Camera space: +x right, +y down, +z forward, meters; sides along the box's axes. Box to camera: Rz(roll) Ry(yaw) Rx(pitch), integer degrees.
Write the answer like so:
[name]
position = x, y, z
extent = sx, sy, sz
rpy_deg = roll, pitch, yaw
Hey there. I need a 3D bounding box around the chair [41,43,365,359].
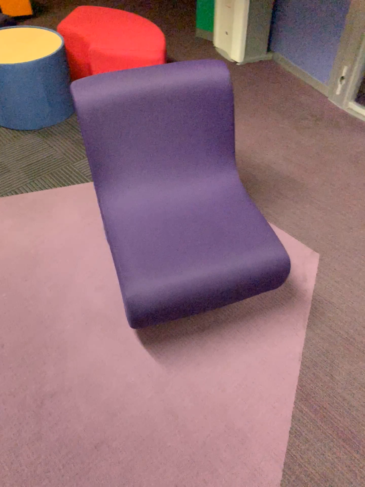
[chair]
position = 0.015, -0.213, 1.363
extent = 0.801, 0.614, 0.827
rpy_deg = -15, 48, -13
